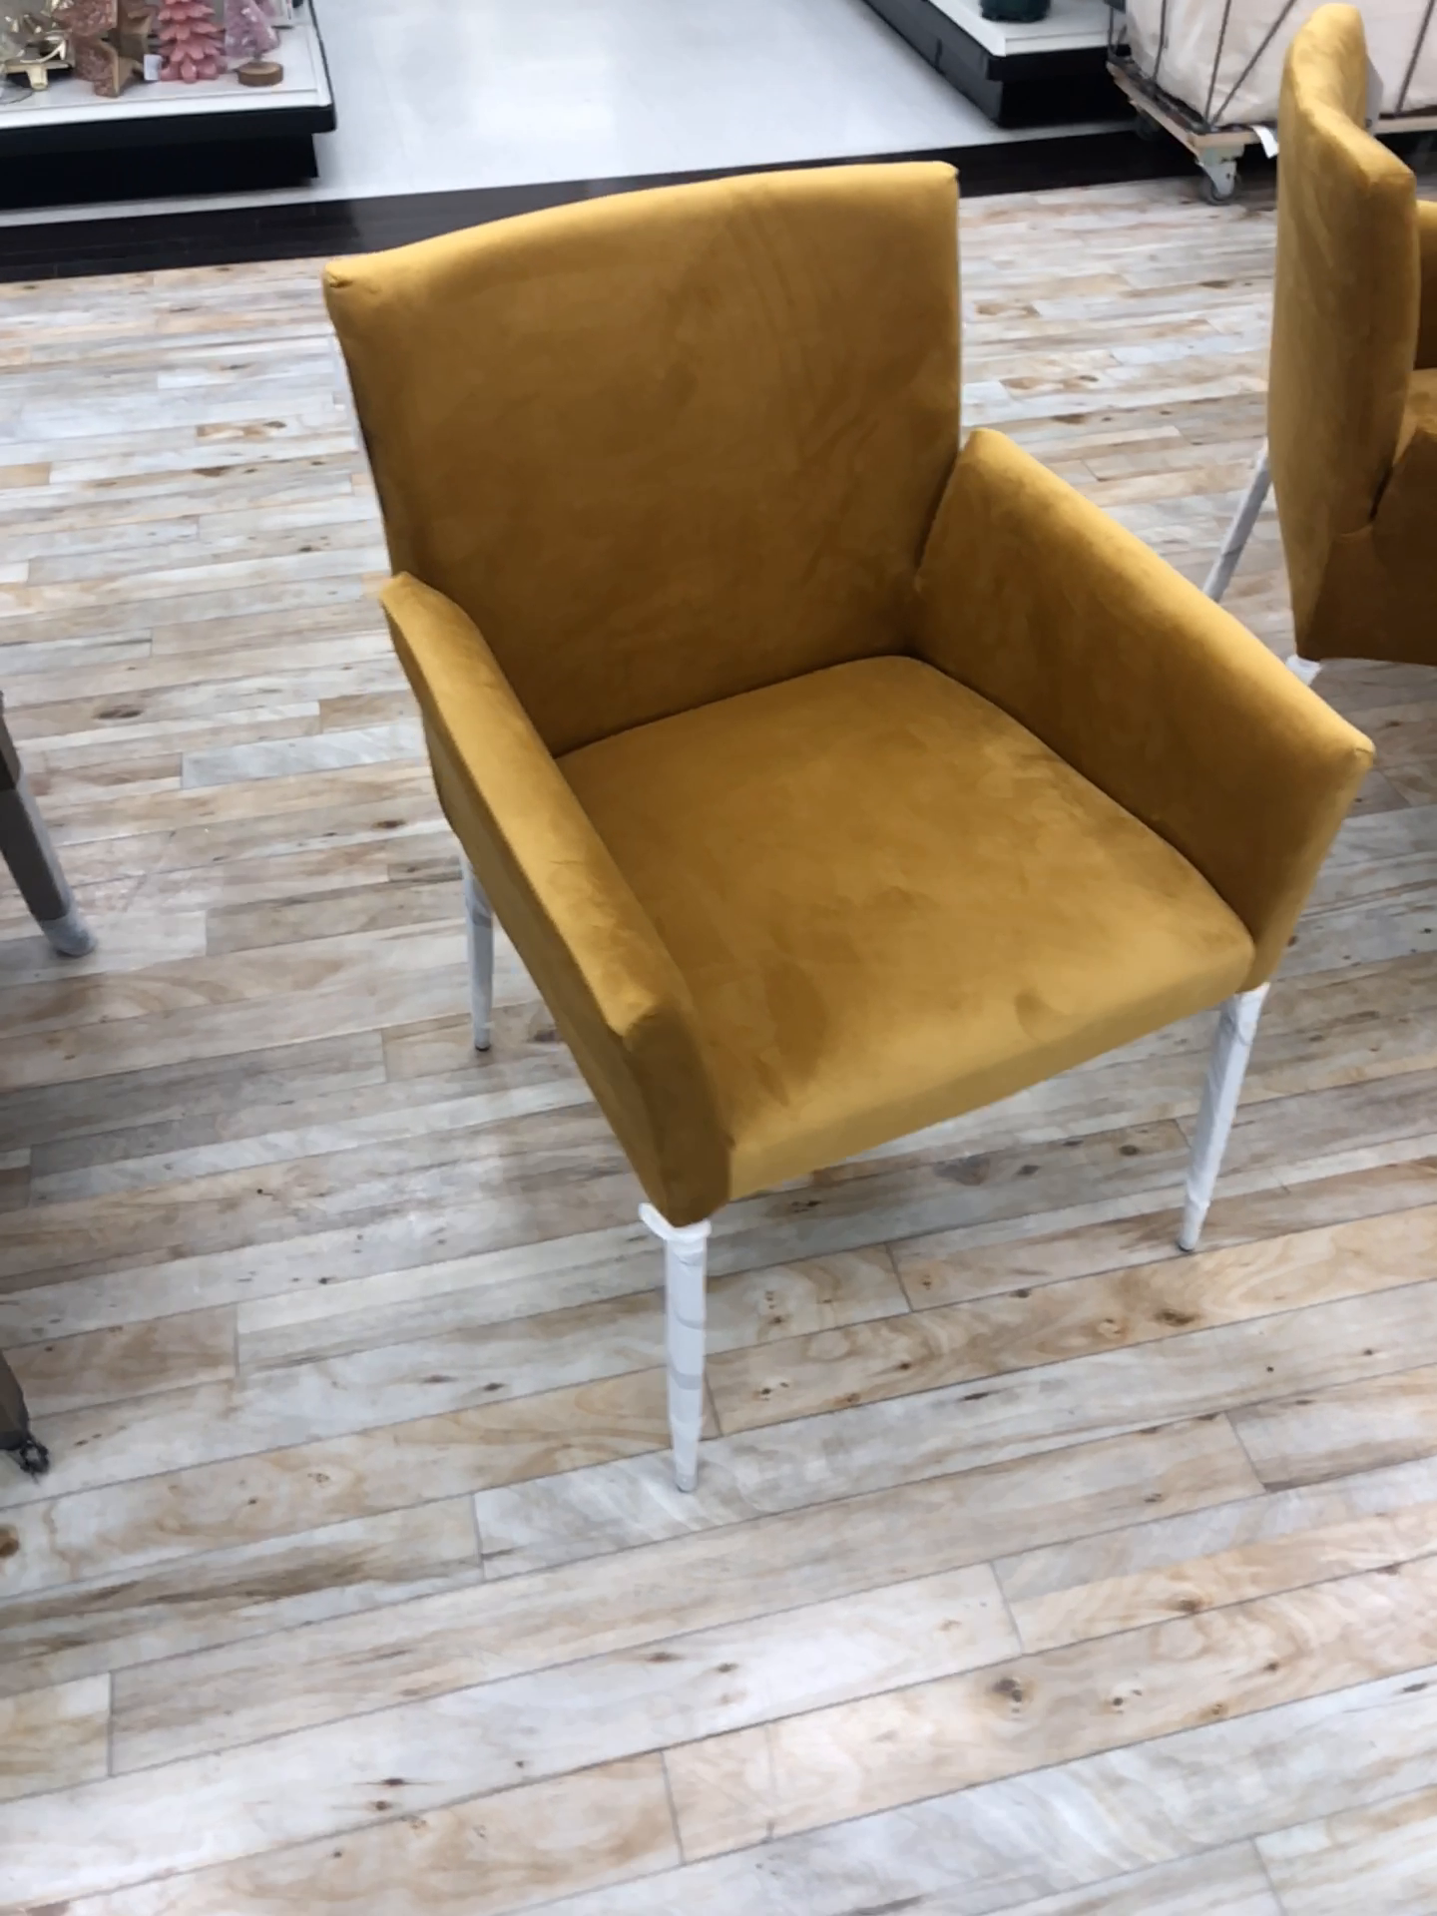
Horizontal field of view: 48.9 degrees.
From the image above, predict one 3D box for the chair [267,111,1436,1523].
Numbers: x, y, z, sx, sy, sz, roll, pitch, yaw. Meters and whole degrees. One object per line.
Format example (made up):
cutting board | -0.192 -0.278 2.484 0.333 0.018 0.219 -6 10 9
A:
chair | 0.080 -0.103 1.219 0.560 0.797 0.542 -20 47 -19
